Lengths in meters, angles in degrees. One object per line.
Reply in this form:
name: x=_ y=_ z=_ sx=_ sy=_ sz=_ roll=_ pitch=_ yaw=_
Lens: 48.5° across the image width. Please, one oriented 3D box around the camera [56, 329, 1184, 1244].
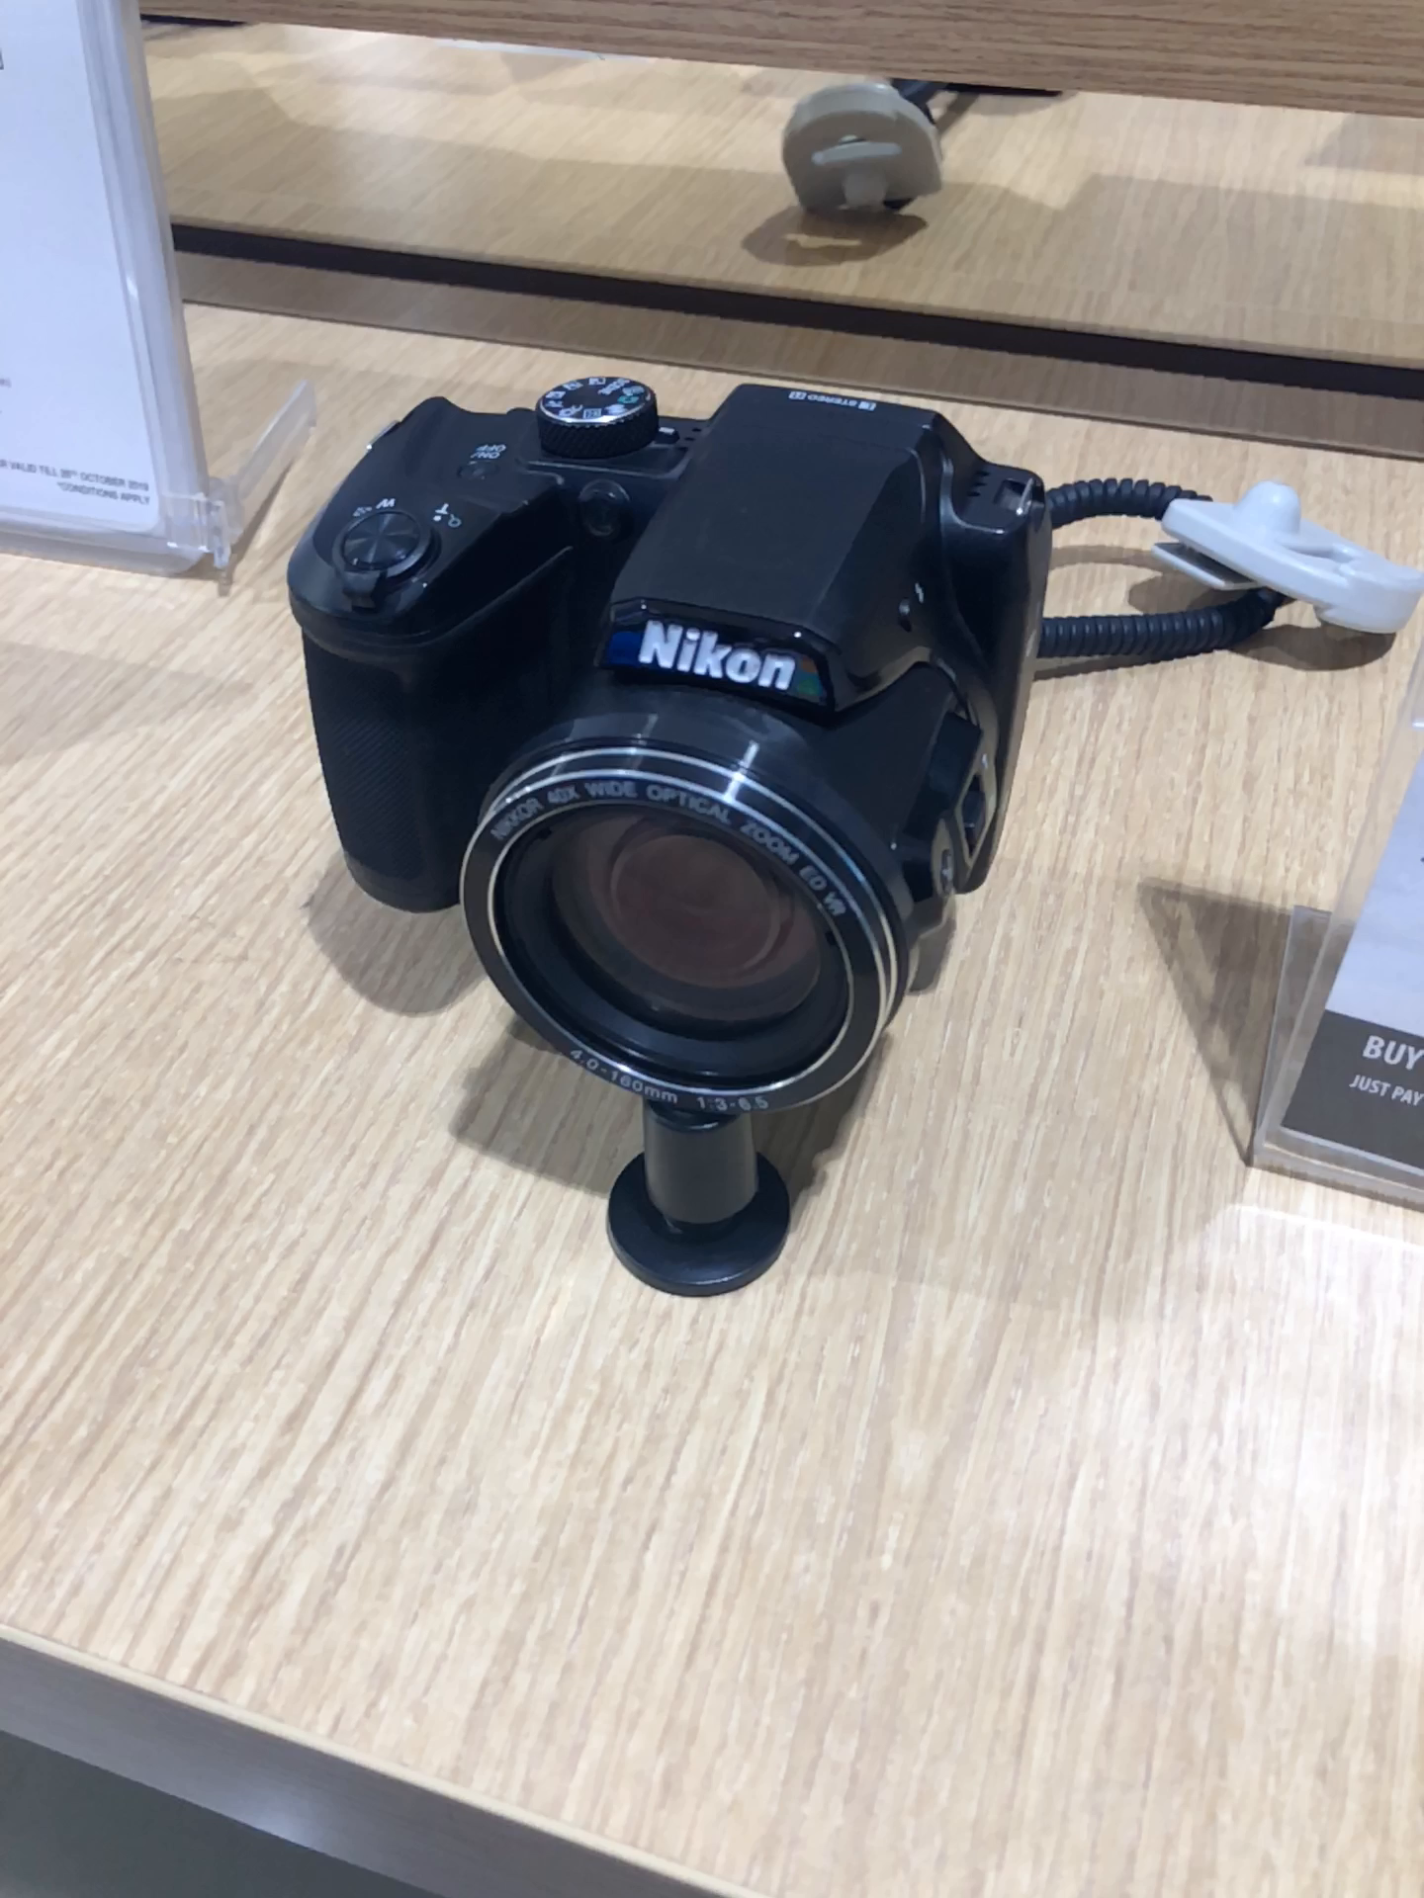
camera: x=-0.005 y=-0.030 z=0.226 sx=0.120 sy=0.070 sz=0.091 roll=13 pitch=45 yaw=14
